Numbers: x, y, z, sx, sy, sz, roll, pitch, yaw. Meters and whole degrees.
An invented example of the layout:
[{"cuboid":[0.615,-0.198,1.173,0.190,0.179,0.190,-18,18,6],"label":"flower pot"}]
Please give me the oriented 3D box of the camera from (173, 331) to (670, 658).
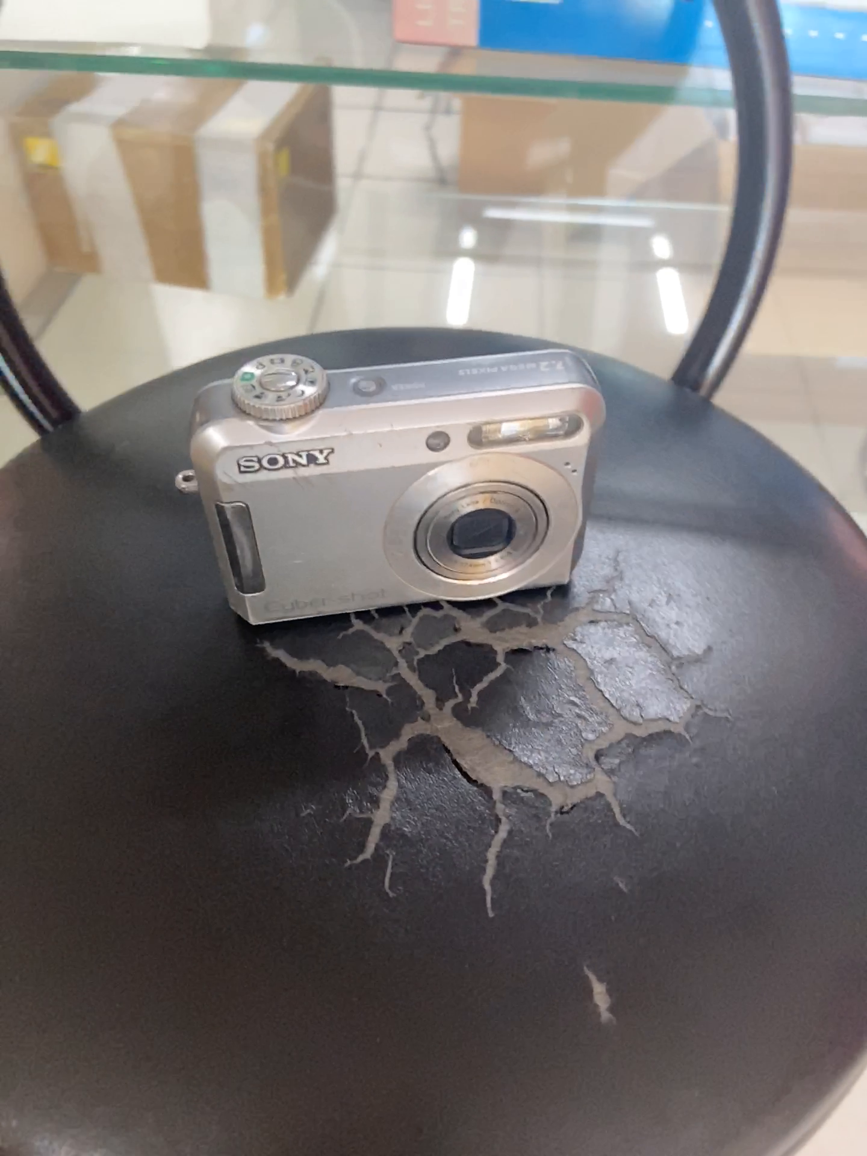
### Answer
[{"cuboid":[-0.005,-0.020,0.210,0.100,0.050,0.040,-8,46,-8],"label":"camera"}]
